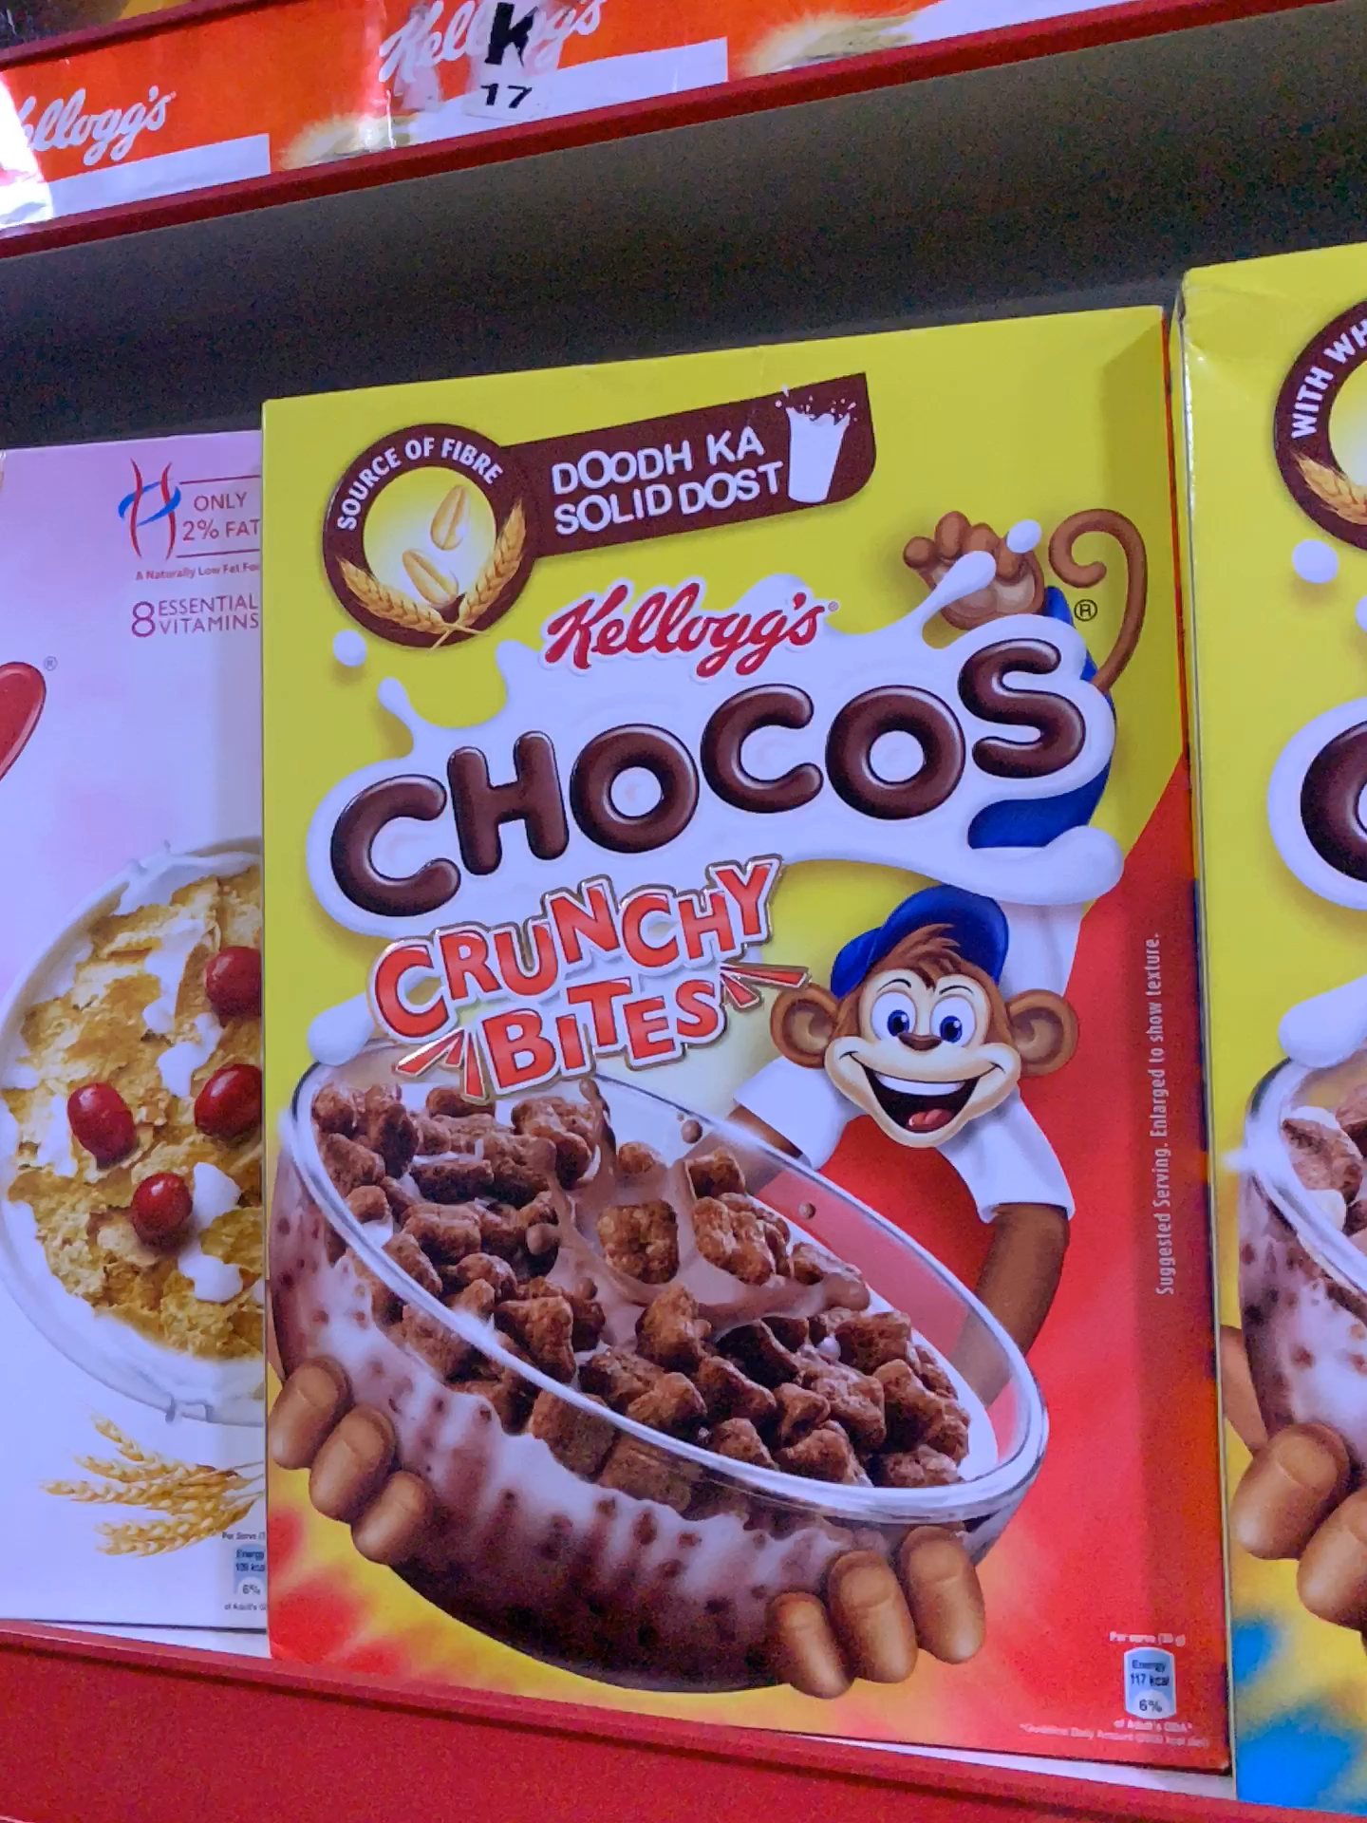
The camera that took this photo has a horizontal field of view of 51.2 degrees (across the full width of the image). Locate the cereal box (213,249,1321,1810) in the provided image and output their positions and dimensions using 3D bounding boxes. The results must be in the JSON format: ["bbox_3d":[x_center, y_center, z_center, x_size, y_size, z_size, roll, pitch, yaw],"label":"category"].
[{"bbox_3d":[0.013,0.019,0.293,0.190,0.260,0.080,-1,-4,9],"label":"cereal box"}]
